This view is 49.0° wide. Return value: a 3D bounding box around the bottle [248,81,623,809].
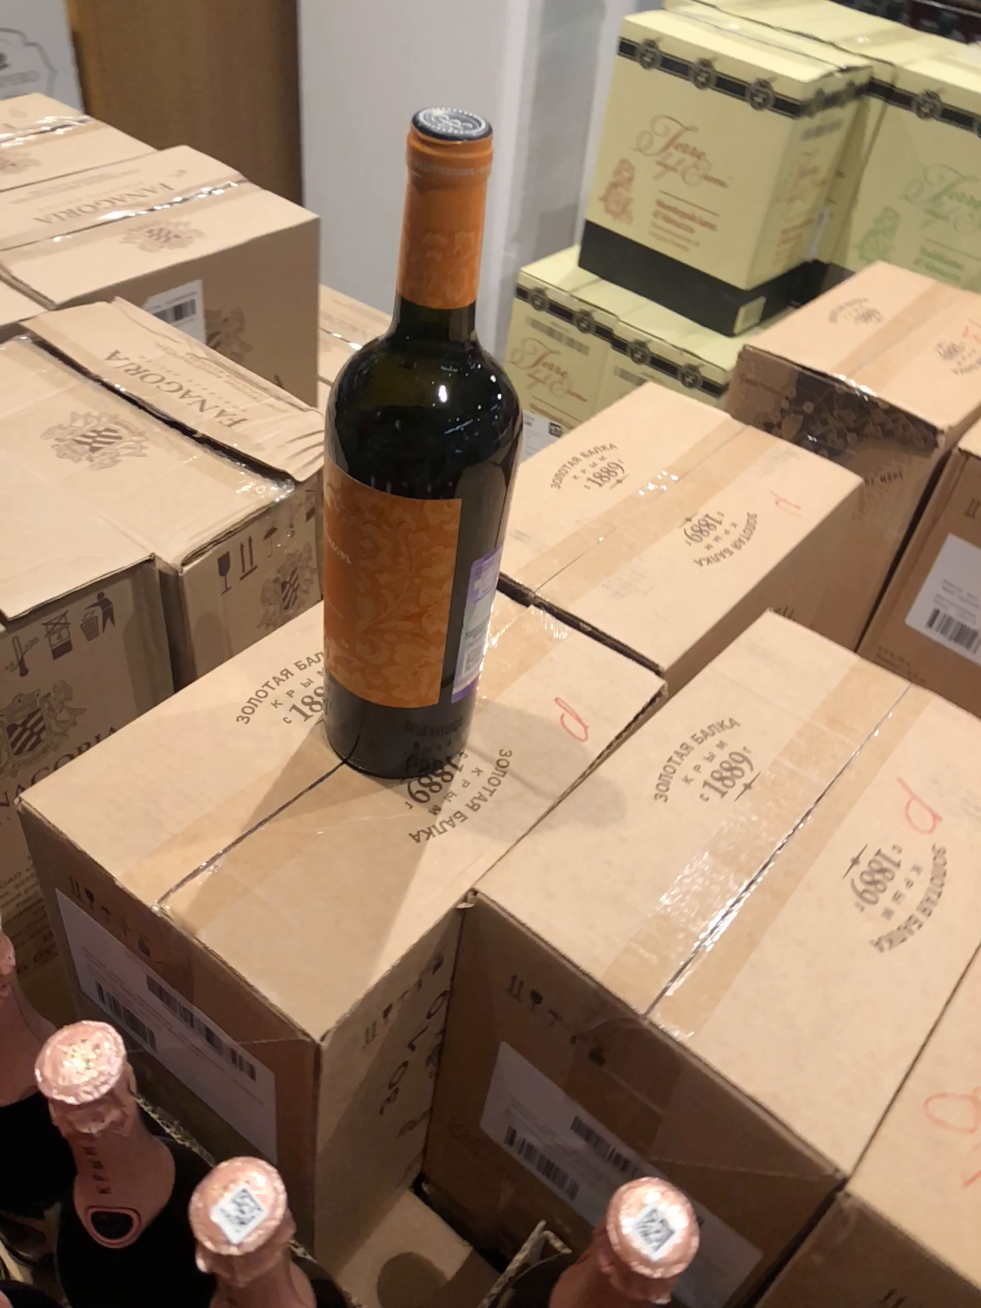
[{"bbox_3d":[-0.030,-0.074,0.457,0.090,0.278,0.090,4,42,-3],"label":"bottle"}]
